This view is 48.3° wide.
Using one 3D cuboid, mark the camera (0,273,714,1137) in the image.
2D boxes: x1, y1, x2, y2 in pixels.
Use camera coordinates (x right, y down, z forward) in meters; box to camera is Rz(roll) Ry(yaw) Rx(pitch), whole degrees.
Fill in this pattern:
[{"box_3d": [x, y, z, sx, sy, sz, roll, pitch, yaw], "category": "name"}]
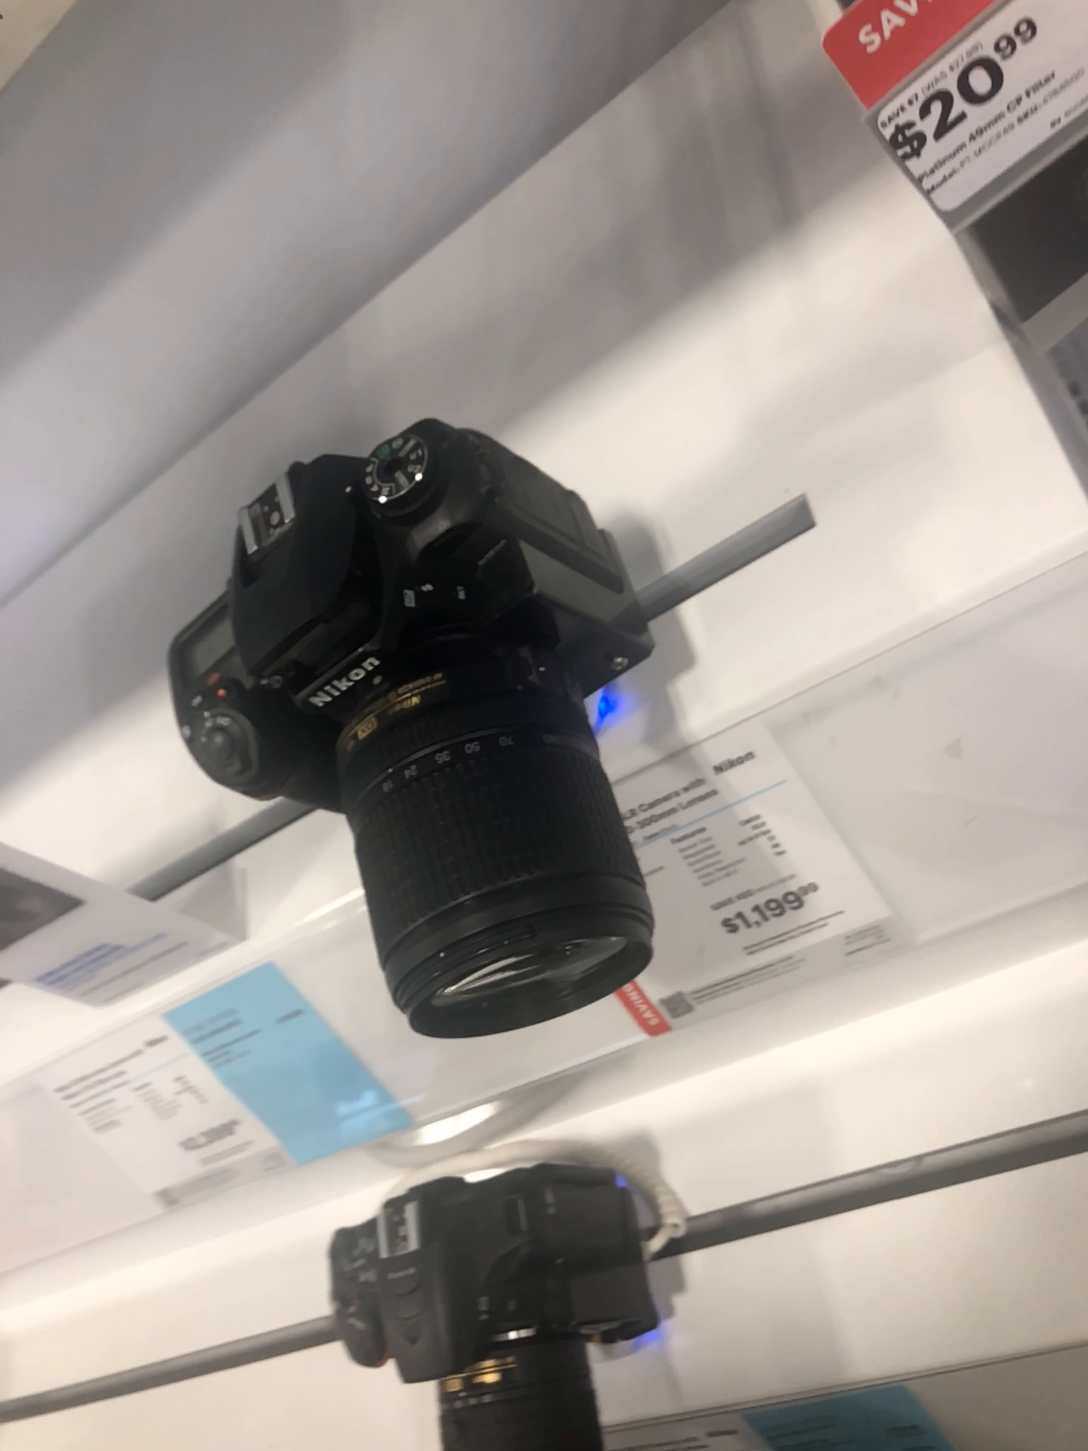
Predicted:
[{"box_3d": [-0.070, 0.004, 0.372, 0.150, 0.120, 0.190, -33, 55, 26], "category": "camera"}]
